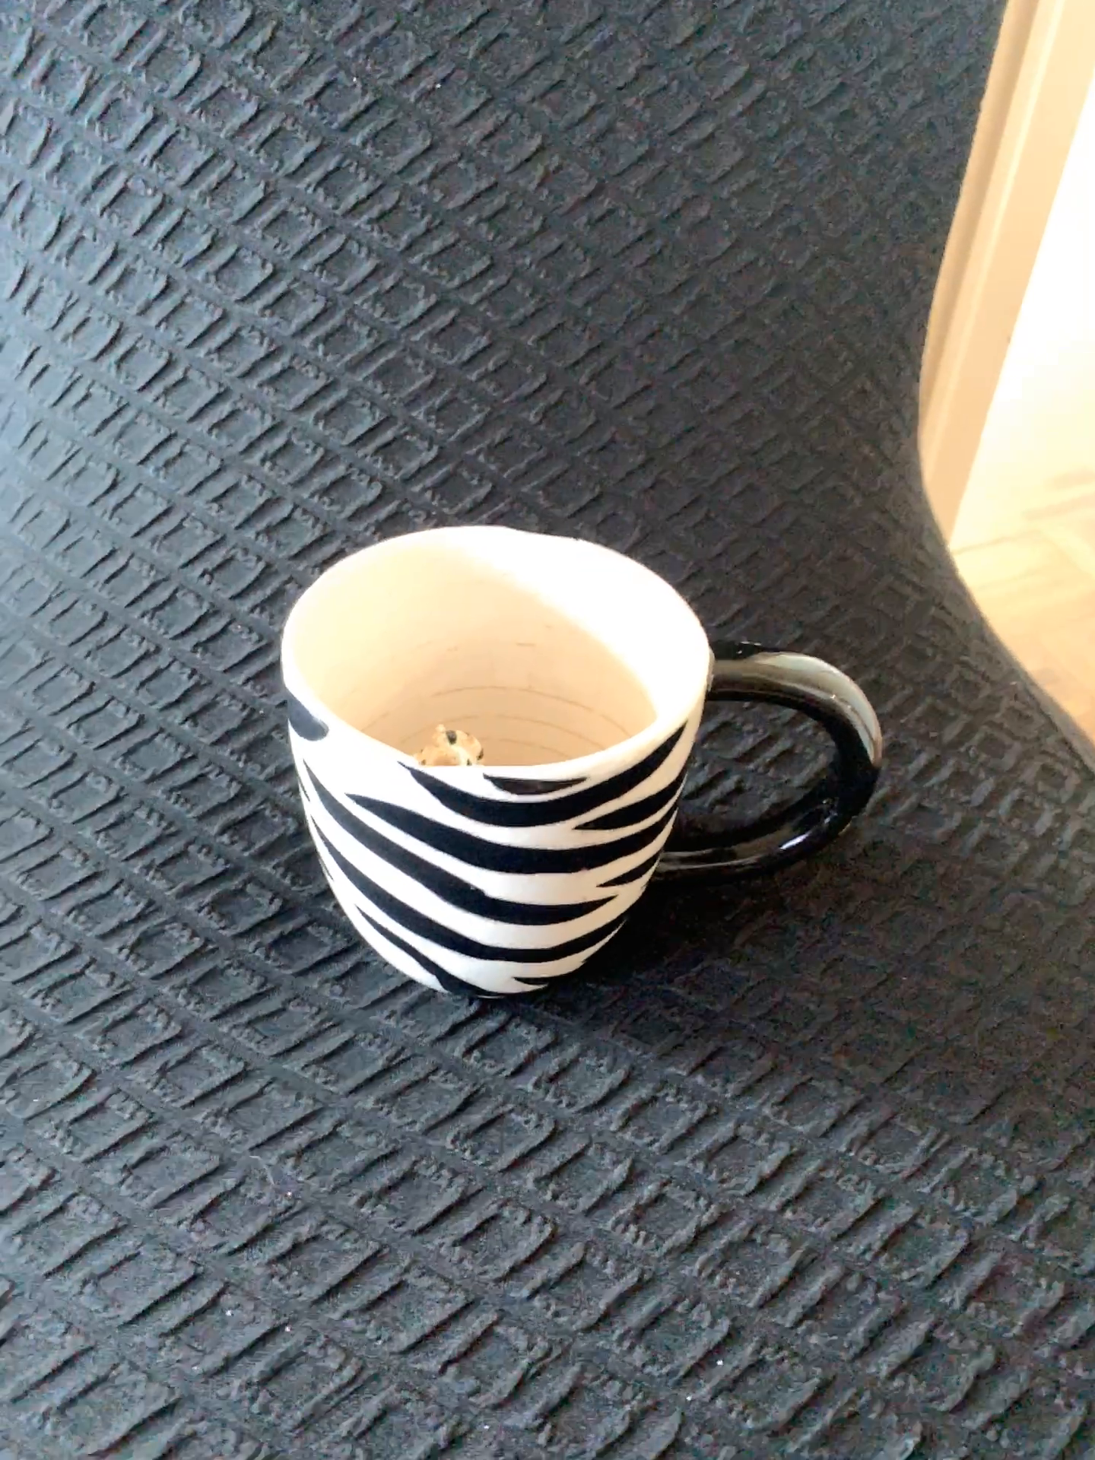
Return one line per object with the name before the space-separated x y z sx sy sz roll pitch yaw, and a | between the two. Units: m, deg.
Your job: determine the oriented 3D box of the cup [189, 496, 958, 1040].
cup | 0.006 0.009 0.266 0.140 0.090 0.080 3 44 2
